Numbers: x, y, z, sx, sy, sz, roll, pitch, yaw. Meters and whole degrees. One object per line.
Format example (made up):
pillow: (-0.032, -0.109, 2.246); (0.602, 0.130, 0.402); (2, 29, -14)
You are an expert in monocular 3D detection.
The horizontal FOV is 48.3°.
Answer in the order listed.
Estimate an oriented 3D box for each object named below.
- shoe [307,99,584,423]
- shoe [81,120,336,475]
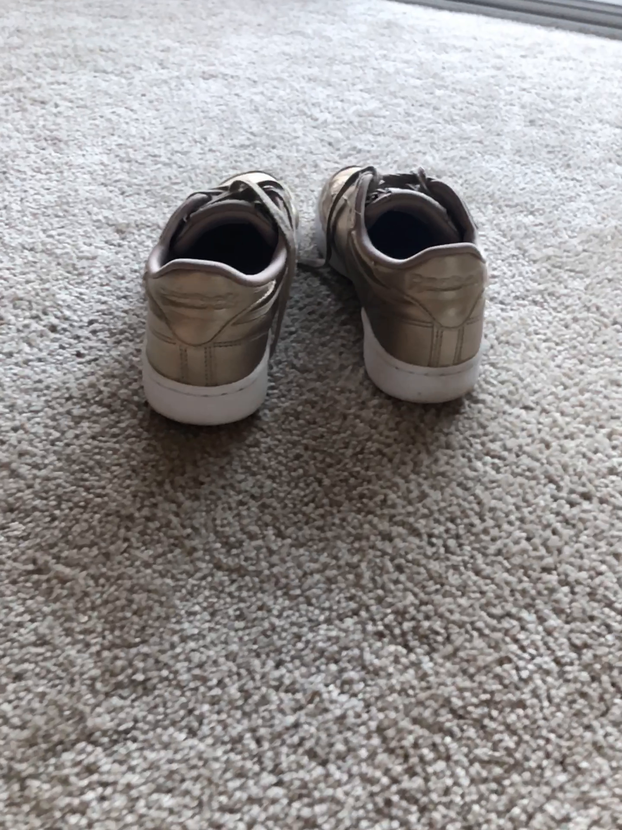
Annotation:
shoe: (0.063, -0.117, 0.447); (0.110, 0.070, 0.281); (1, 42, -5)
shoe: (-0.043, -0.093, 0.431); (0.110, 0.070, 0.281); (4, 42, -1)
